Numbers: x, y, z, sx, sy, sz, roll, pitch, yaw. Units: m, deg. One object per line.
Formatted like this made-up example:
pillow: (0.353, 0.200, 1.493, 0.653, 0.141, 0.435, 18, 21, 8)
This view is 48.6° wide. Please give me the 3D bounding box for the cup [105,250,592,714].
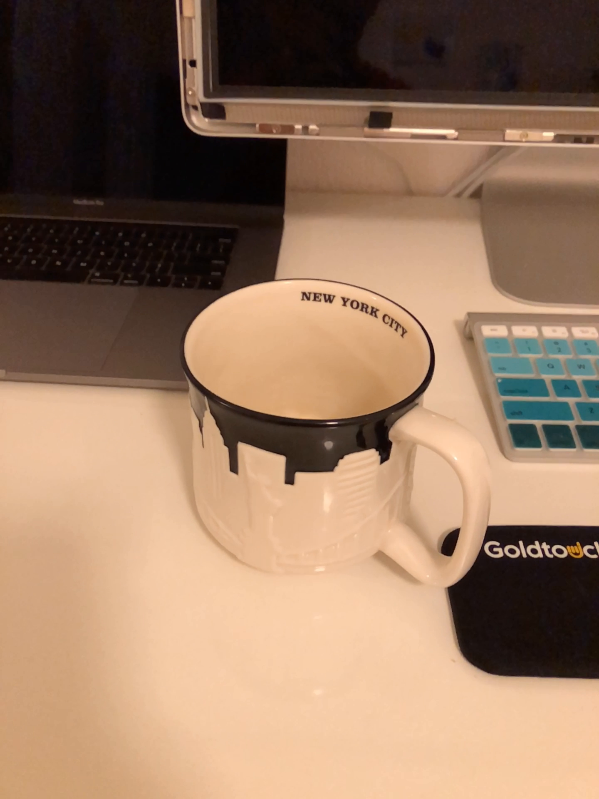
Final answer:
cup: (0.016, 0.021, 0.282, 0.150, 0.089, 0.110, 30, 48, 29)
